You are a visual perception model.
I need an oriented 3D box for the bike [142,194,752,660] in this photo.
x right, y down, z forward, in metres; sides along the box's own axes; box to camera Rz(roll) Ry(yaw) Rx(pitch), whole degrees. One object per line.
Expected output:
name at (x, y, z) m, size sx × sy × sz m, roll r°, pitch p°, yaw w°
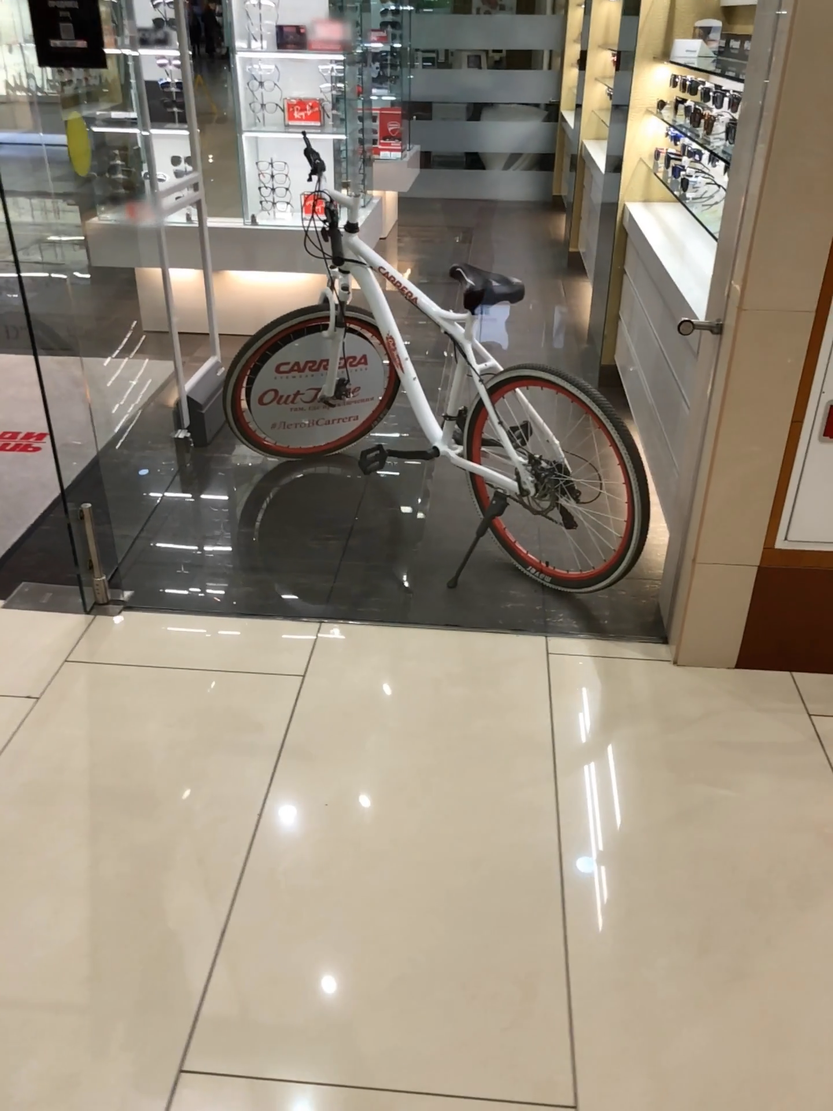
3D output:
bike at (0.004, -0.440, 2.464) m, size 1.383 × 0.947 × 0.594 m, roll 18°, pitch 33°, yaw 34°
